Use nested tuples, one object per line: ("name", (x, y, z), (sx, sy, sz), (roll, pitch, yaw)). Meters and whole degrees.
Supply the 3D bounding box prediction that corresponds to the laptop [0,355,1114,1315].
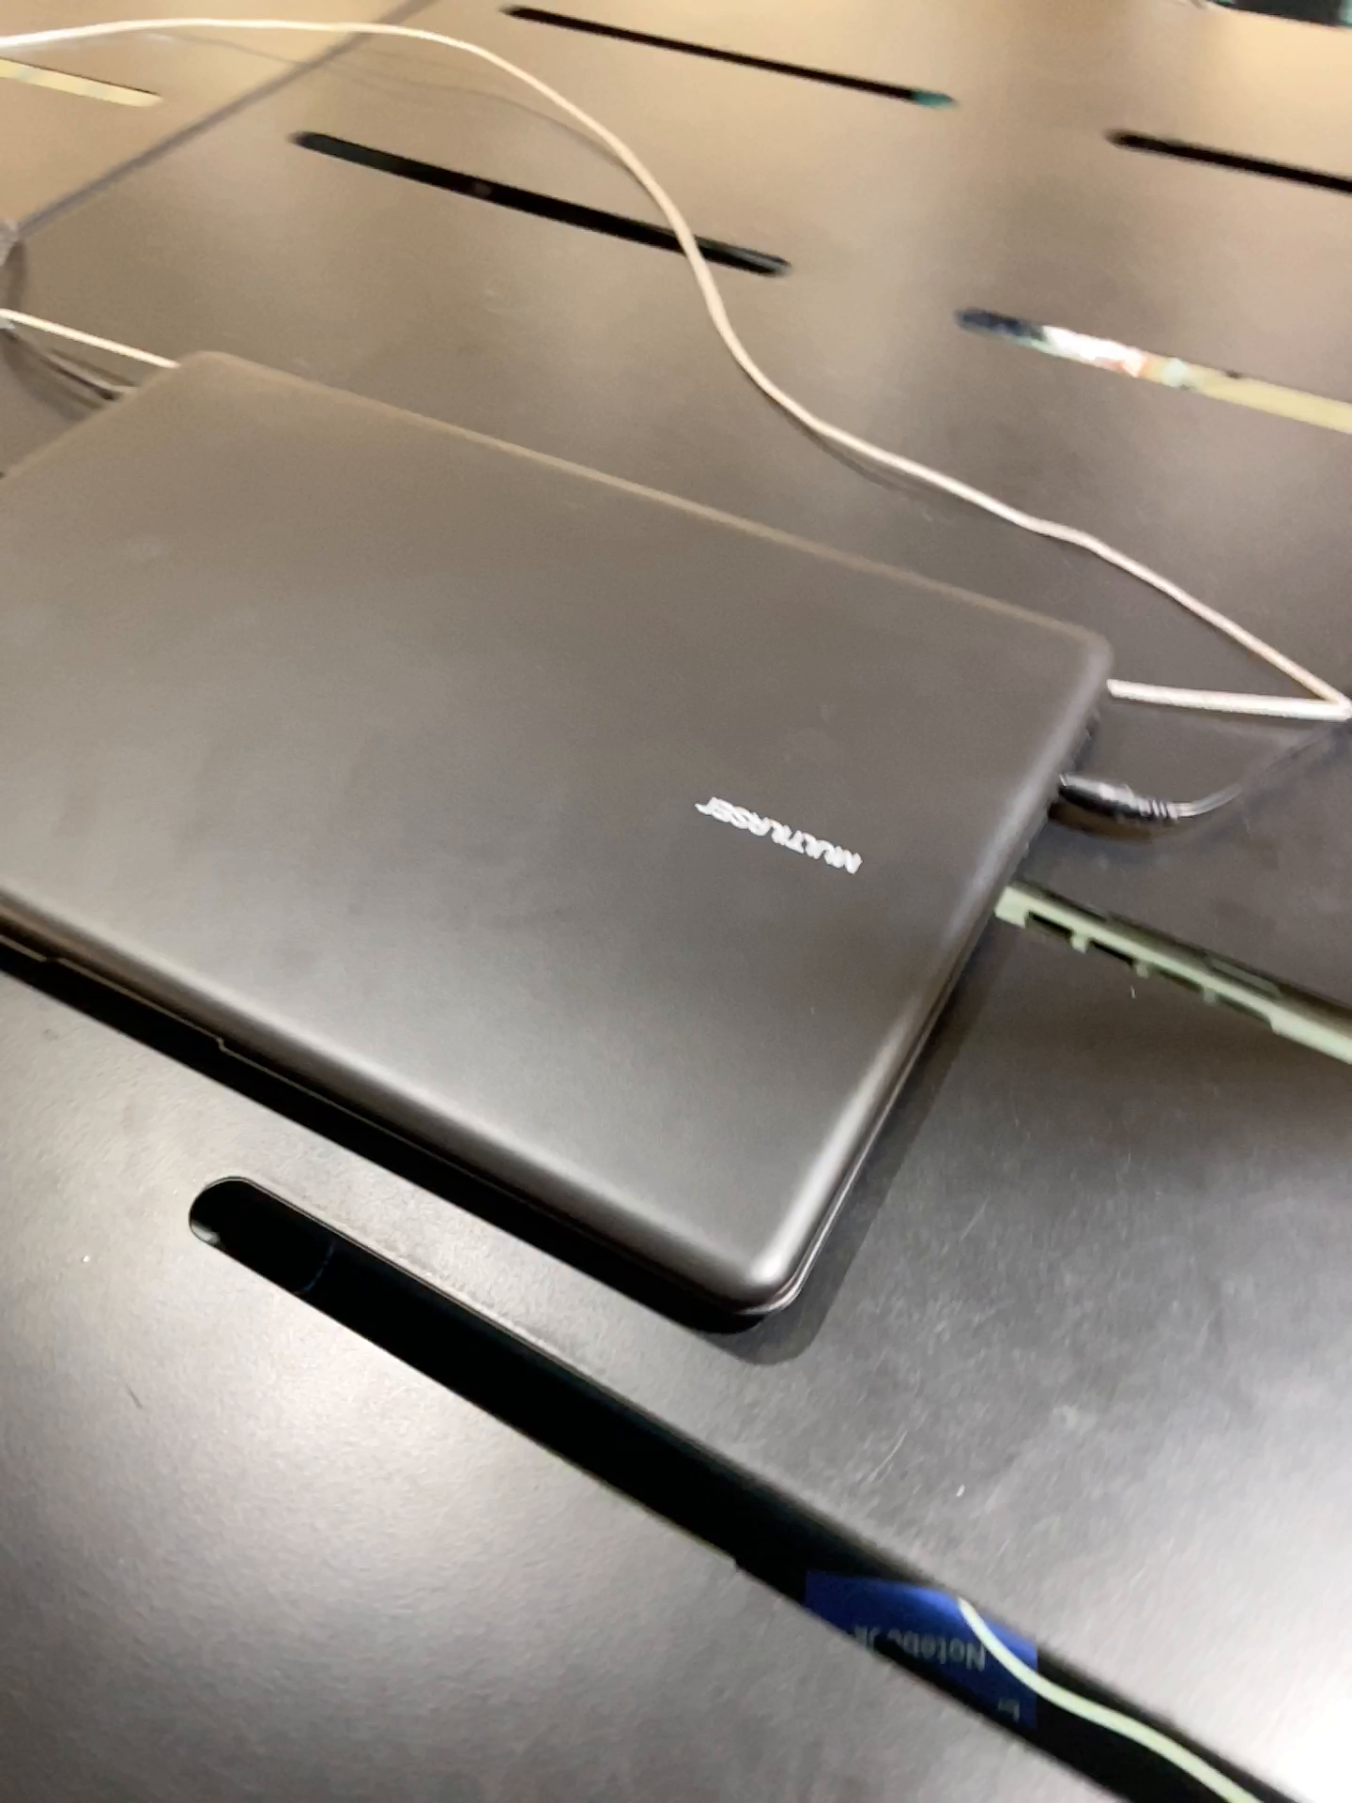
("laptop", (-0.074, -0.054, 0.372), (0.324, 0.001, 0.211), (23, 55, 18))
